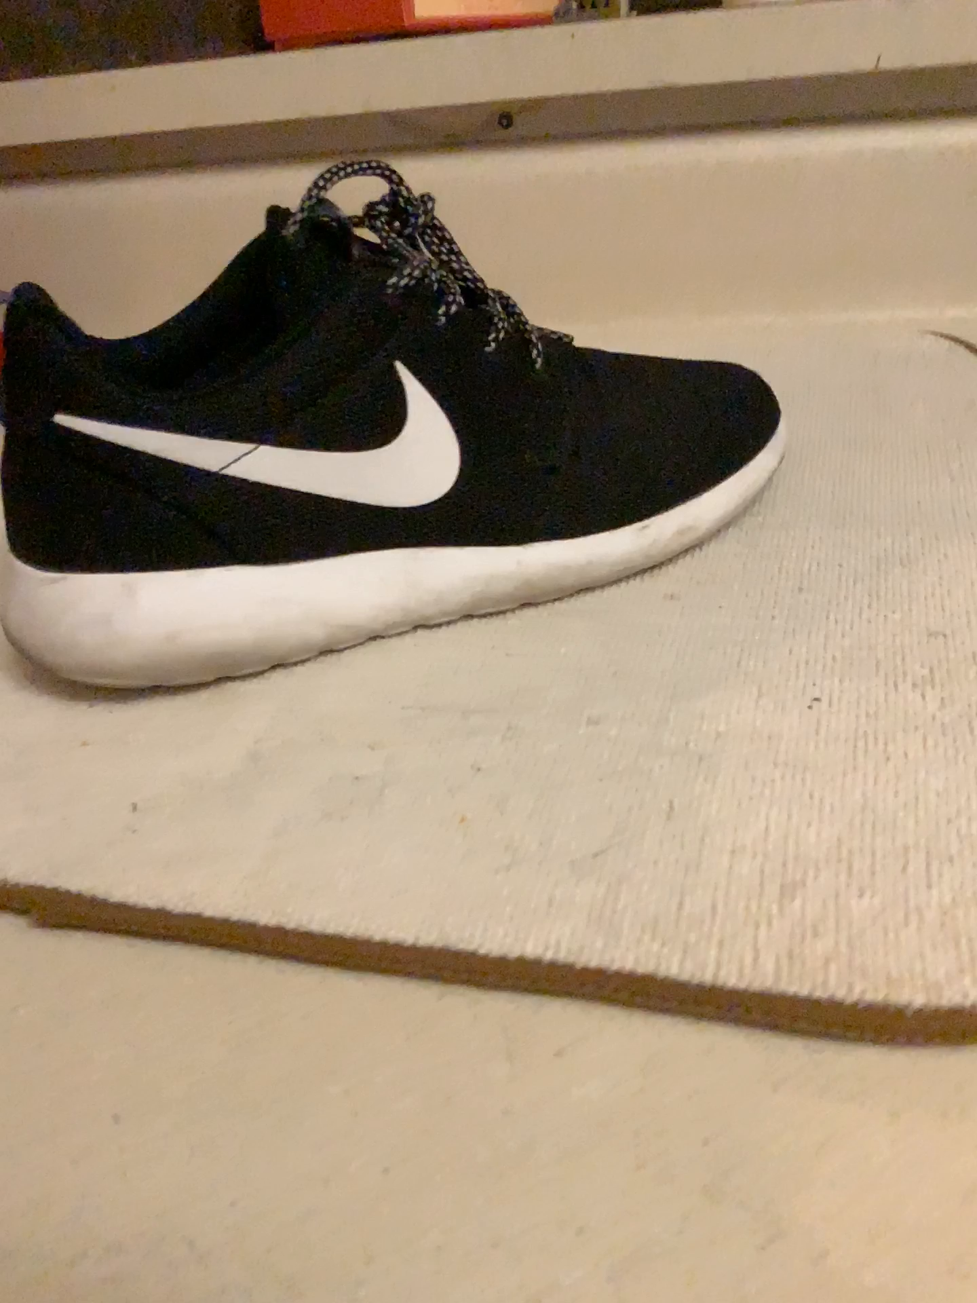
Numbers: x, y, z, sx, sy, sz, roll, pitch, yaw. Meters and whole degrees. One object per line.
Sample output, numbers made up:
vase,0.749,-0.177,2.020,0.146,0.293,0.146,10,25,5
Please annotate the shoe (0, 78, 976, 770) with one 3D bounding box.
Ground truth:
shoe,-0.016,-0.091,0.329,0.280,0.120,0.130,-18,32,-19
